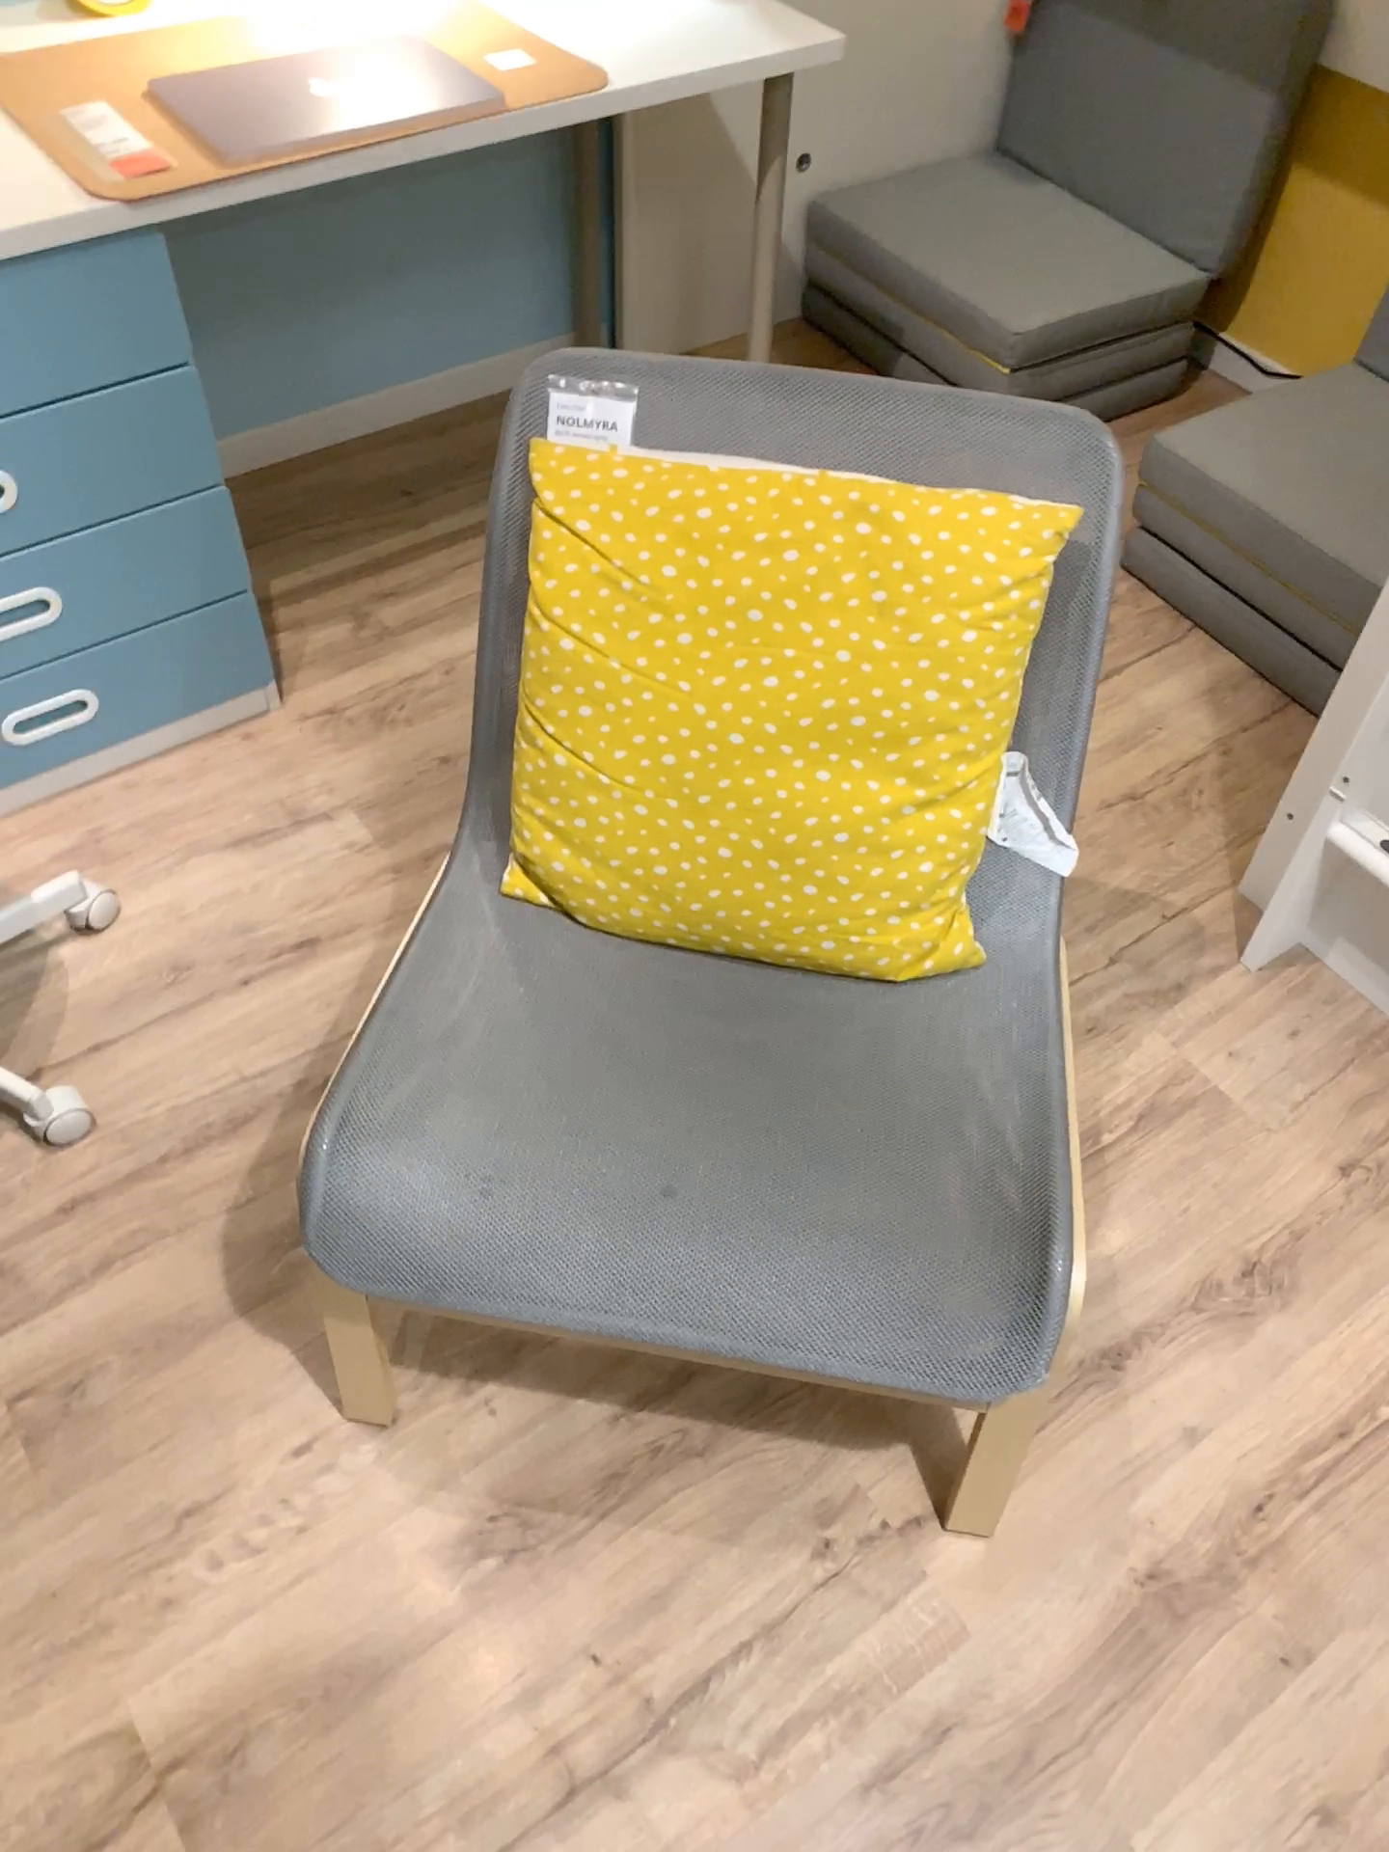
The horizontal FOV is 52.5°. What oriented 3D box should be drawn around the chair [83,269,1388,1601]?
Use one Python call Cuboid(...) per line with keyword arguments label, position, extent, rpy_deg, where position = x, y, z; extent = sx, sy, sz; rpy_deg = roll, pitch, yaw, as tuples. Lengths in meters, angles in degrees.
Cuboid(label="chair", position=(0.067, 0.011, 1.118), extent=(0.630, 0.708, 0.672), rpy_deg=(8, 48, 5))
